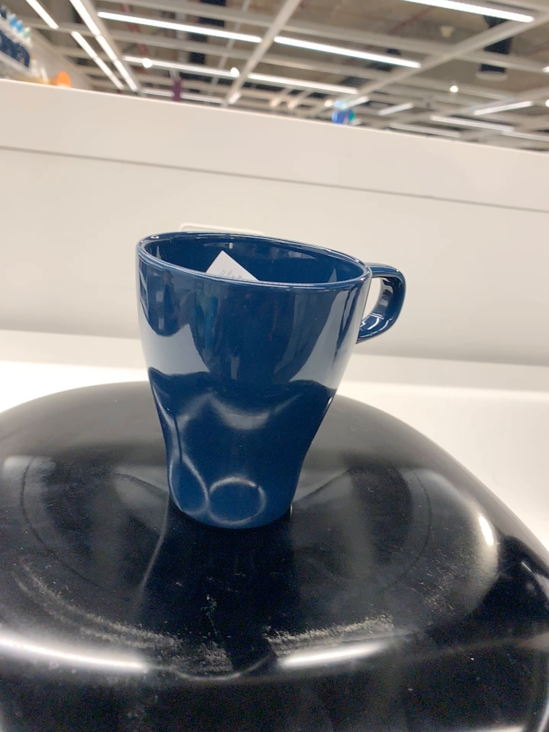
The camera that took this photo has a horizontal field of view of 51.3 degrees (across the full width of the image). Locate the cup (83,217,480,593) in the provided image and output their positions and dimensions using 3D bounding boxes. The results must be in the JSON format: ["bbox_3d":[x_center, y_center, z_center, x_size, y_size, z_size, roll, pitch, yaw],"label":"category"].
[{"bbox_3d":[0.001,-0.001,0.229,0.120,0.100,0.090,-11,25,-43],"label":"cup"}]
